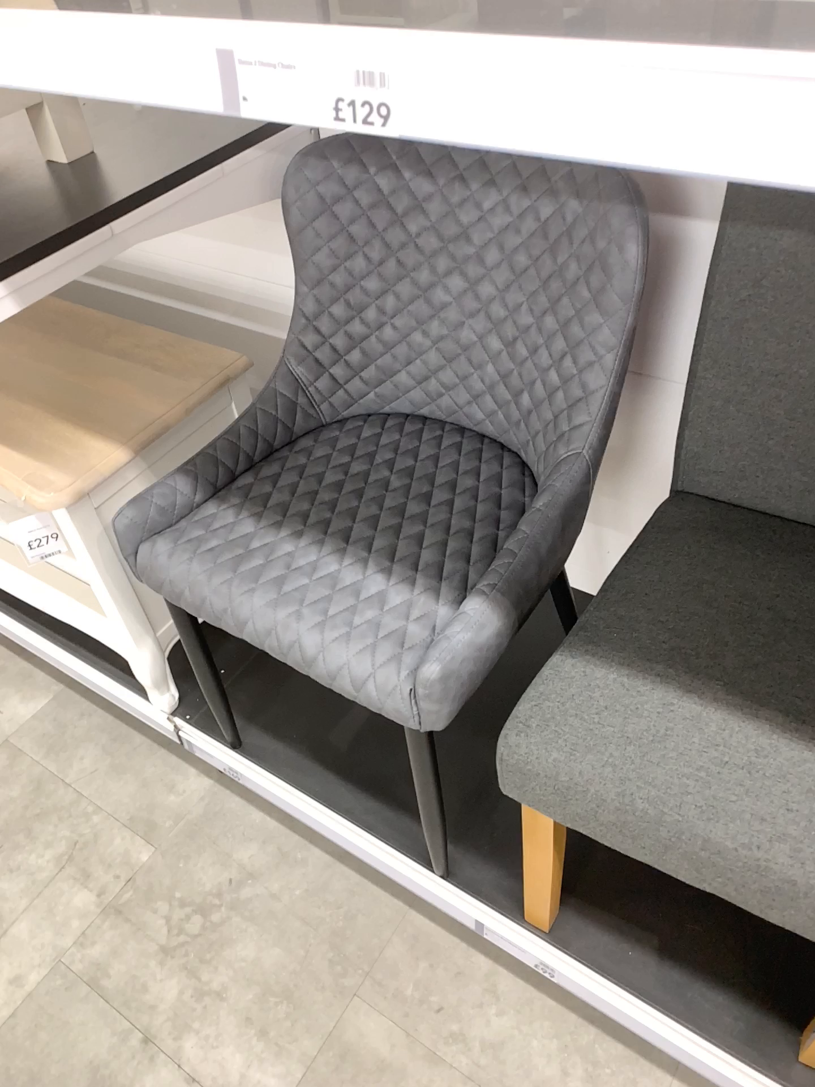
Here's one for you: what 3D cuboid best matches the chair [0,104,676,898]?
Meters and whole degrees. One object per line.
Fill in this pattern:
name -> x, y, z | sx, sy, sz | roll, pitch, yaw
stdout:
chair -> -0.023, -0.054, 1.110 | 0.482, 0.792, 0.543 | 22, 51, 28

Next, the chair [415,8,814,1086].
chair -> 0.382, 0.057, 0.850 | 0.432, 0.911, 0.563 | 21, 50, 27
